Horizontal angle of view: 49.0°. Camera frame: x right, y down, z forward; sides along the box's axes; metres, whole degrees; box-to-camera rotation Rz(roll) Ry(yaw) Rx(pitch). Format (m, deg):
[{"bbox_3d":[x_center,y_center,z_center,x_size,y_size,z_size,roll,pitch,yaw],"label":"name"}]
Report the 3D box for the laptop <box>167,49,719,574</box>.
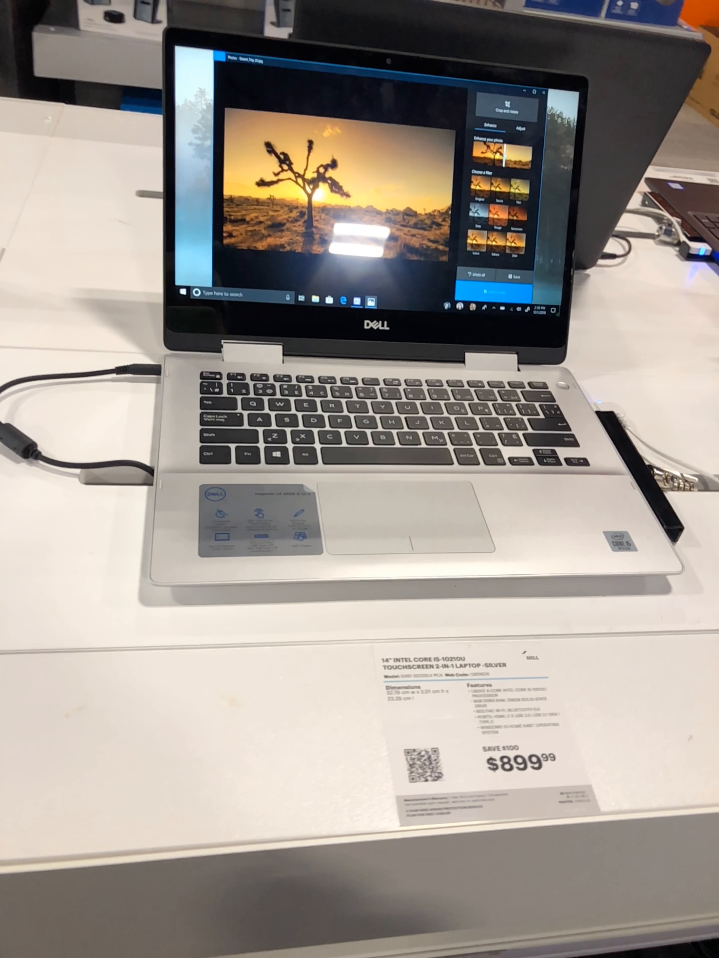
[{"bbox_3d":[0.043,-0.123,0.514,0.311,0.195,0.328,1,40,-9],"label":"laptop"}]
